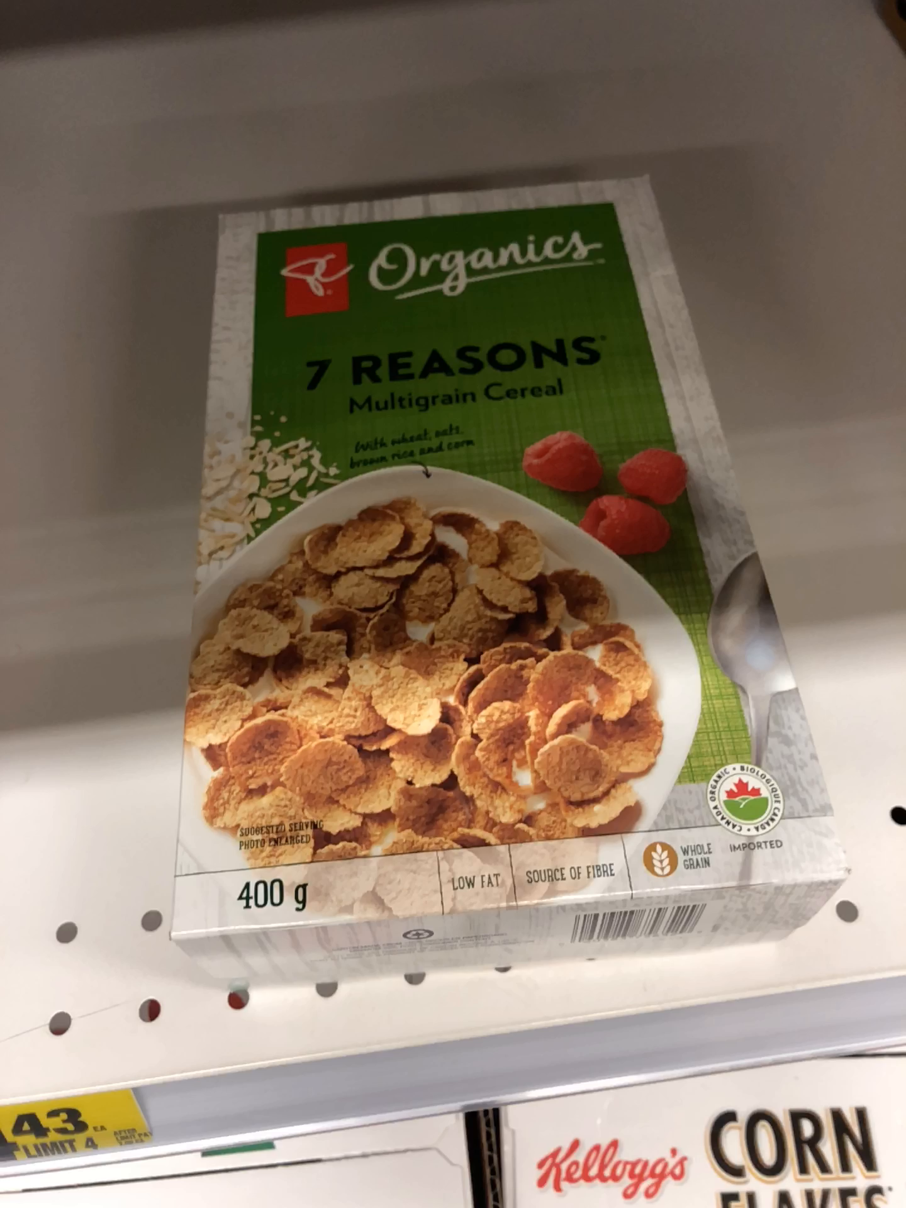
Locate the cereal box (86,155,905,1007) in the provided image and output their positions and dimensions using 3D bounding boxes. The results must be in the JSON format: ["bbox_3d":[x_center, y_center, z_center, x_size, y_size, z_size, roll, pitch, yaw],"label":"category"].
[{"bbox_3d":[0.003,-0.026,0.314,0.180,0.060,0.261,-5,57,0],"label":"cereal box"}]
